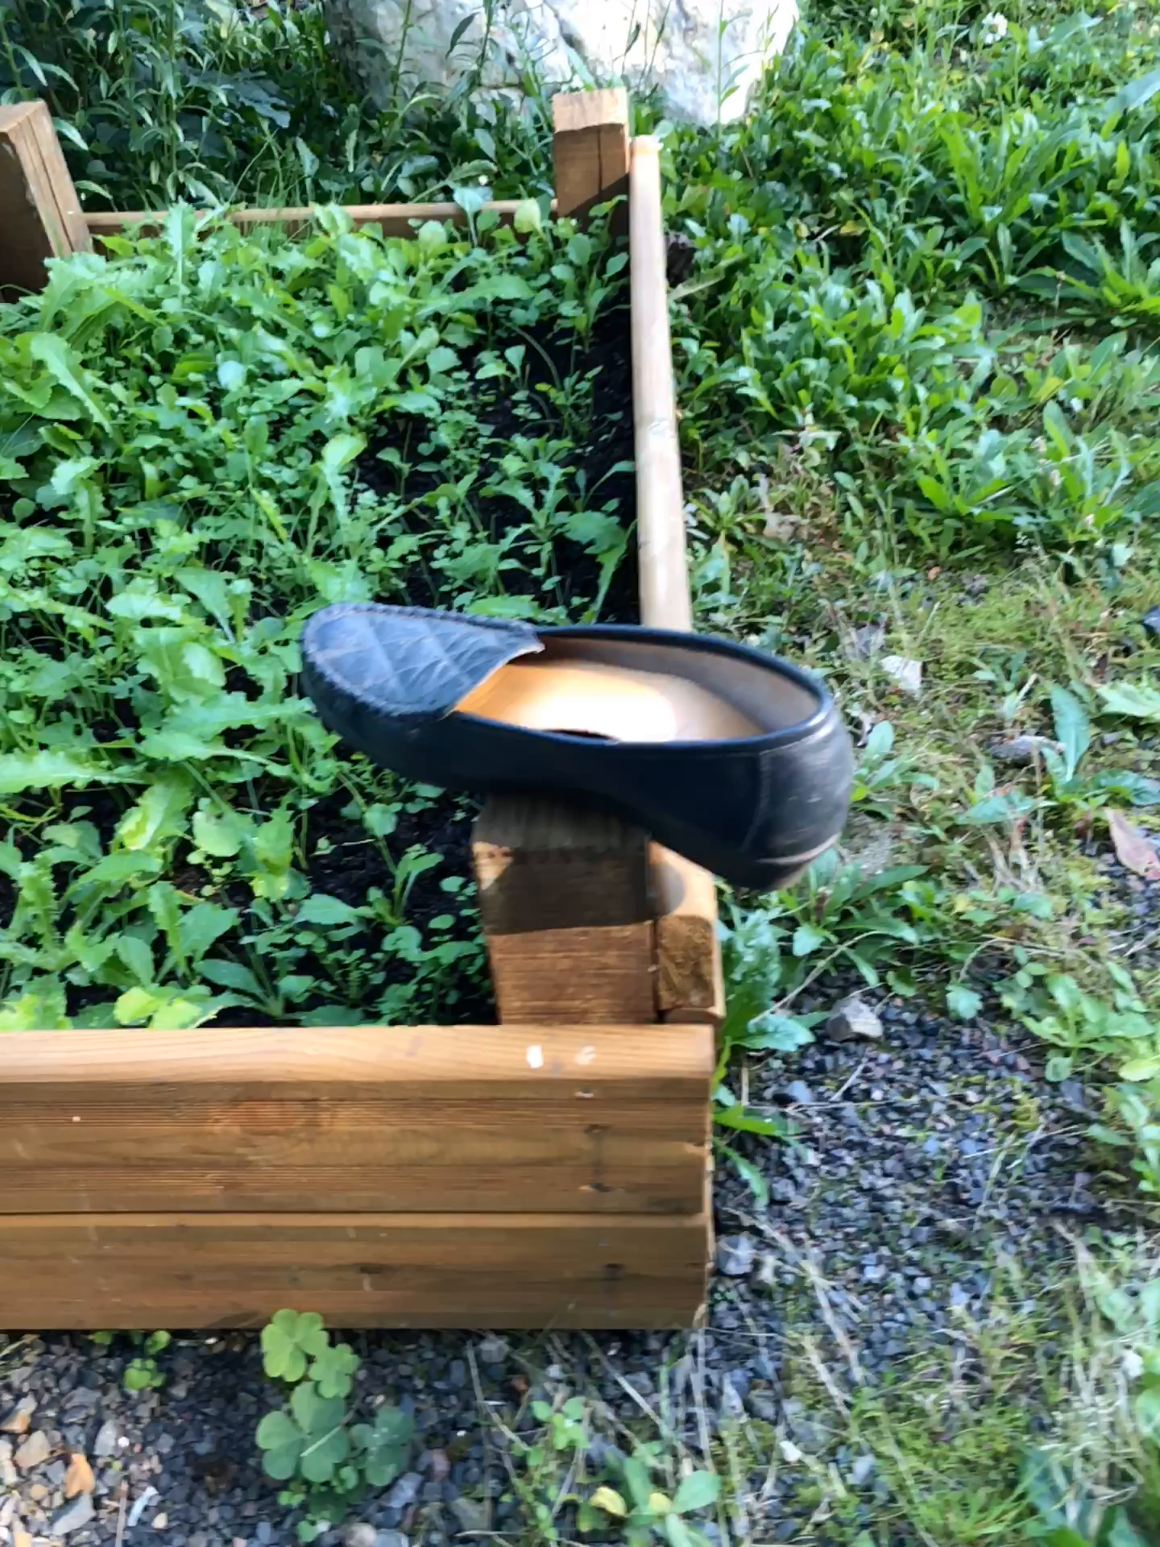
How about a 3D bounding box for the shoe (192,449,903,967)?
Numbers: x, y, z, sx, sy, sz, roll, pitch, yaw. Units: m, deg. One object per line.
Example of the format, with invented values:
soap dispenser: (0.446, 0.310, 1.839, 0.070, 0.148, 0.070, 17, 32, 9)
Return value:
shoe: (-0.016, -0.035, 0.525, 0.260, 0.090, 0.101, 22, 49, 17)
